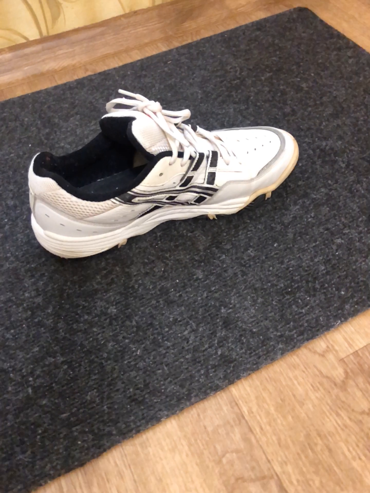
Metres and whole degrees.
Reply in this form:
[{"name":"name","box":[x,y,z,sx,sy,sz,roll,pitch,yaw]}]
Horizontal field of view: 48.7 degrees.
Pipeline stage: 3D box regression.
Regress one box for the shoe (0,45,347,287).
[{"name":"shoe","box":[-0.012,-0.079,0.380,0.280,0.100,0.100,-21,57,-12]}]
